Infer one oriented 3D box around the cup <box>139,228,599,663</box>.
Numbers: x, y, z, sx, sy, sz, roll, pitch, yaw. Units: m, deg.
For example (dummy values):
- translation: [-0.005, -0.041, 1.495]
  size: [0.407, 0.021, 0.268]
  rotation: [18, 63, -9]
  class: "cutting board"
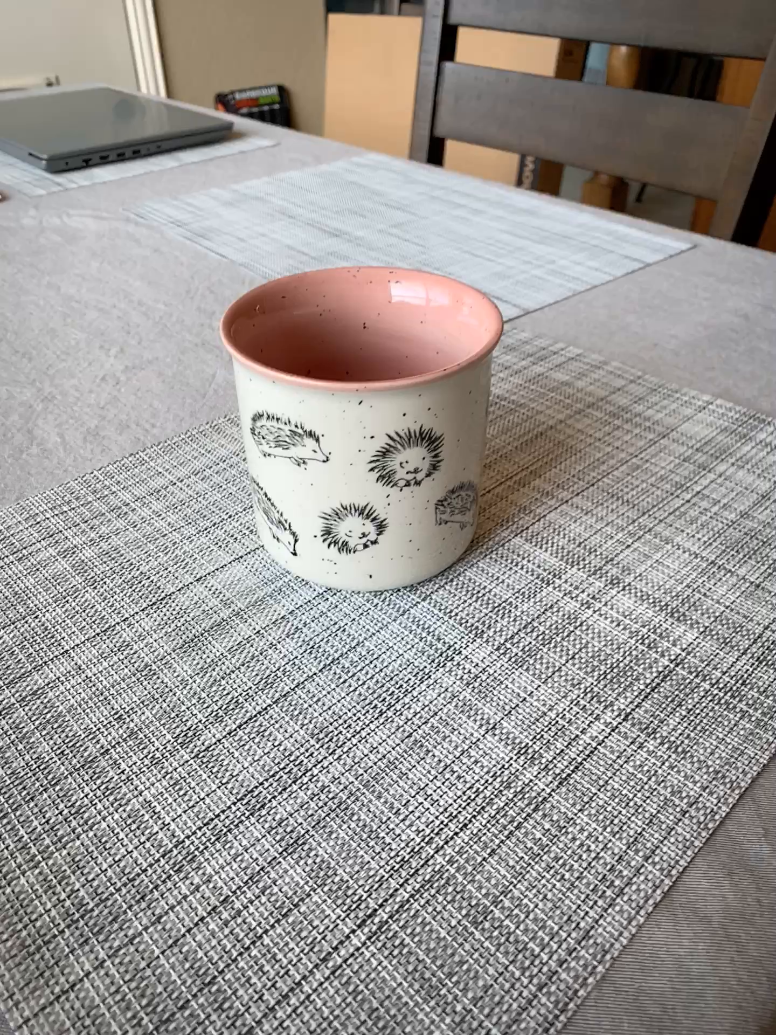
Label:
- translation: [-0.013, -0.044, 0.355]
  size: [0.121, 0.106, 0.151]
  rotation: [-24, 43, -28]
  class: "cup"
